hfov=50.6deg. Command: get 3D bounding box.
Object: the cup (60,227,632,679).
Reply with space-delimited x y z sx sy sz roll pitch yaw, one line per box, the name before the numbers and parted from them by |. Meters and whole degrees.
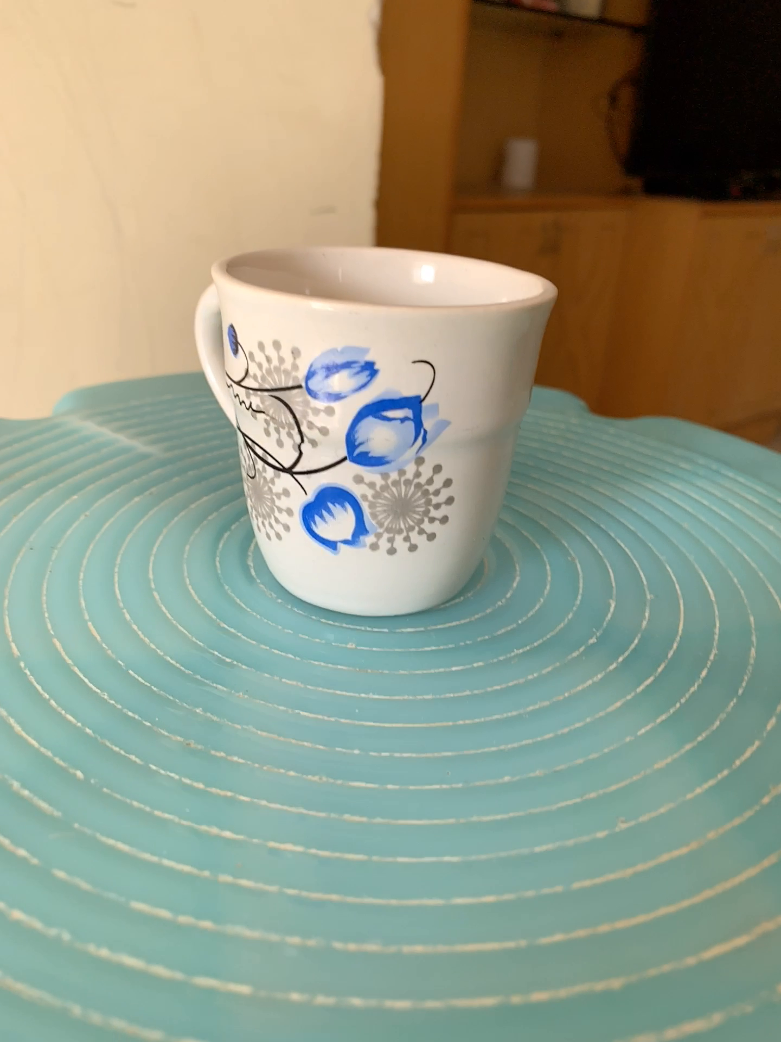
cup | -0.006 -0.024 0.175 0.090 0.060 0.070 15 28 22
